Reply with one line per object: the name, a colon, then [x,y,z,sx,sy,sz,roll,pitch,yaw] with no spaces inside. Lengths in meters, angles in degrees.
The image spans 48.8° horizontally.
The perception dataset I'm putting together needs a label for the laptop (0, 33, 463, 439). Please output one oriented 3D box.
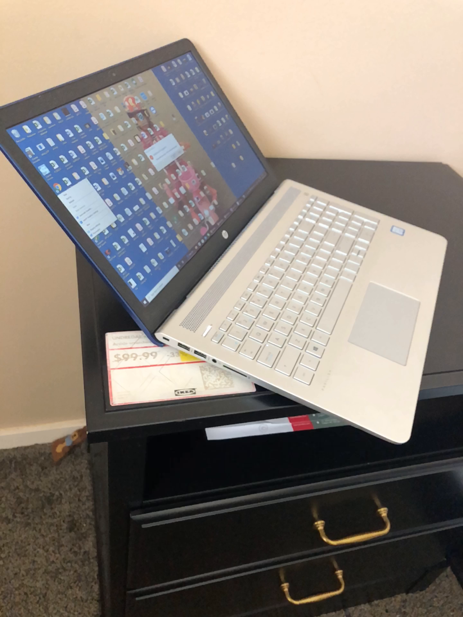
laptop: [0.038,-0.128,0.546,0.400,0.141,0.367,24,42,11]
